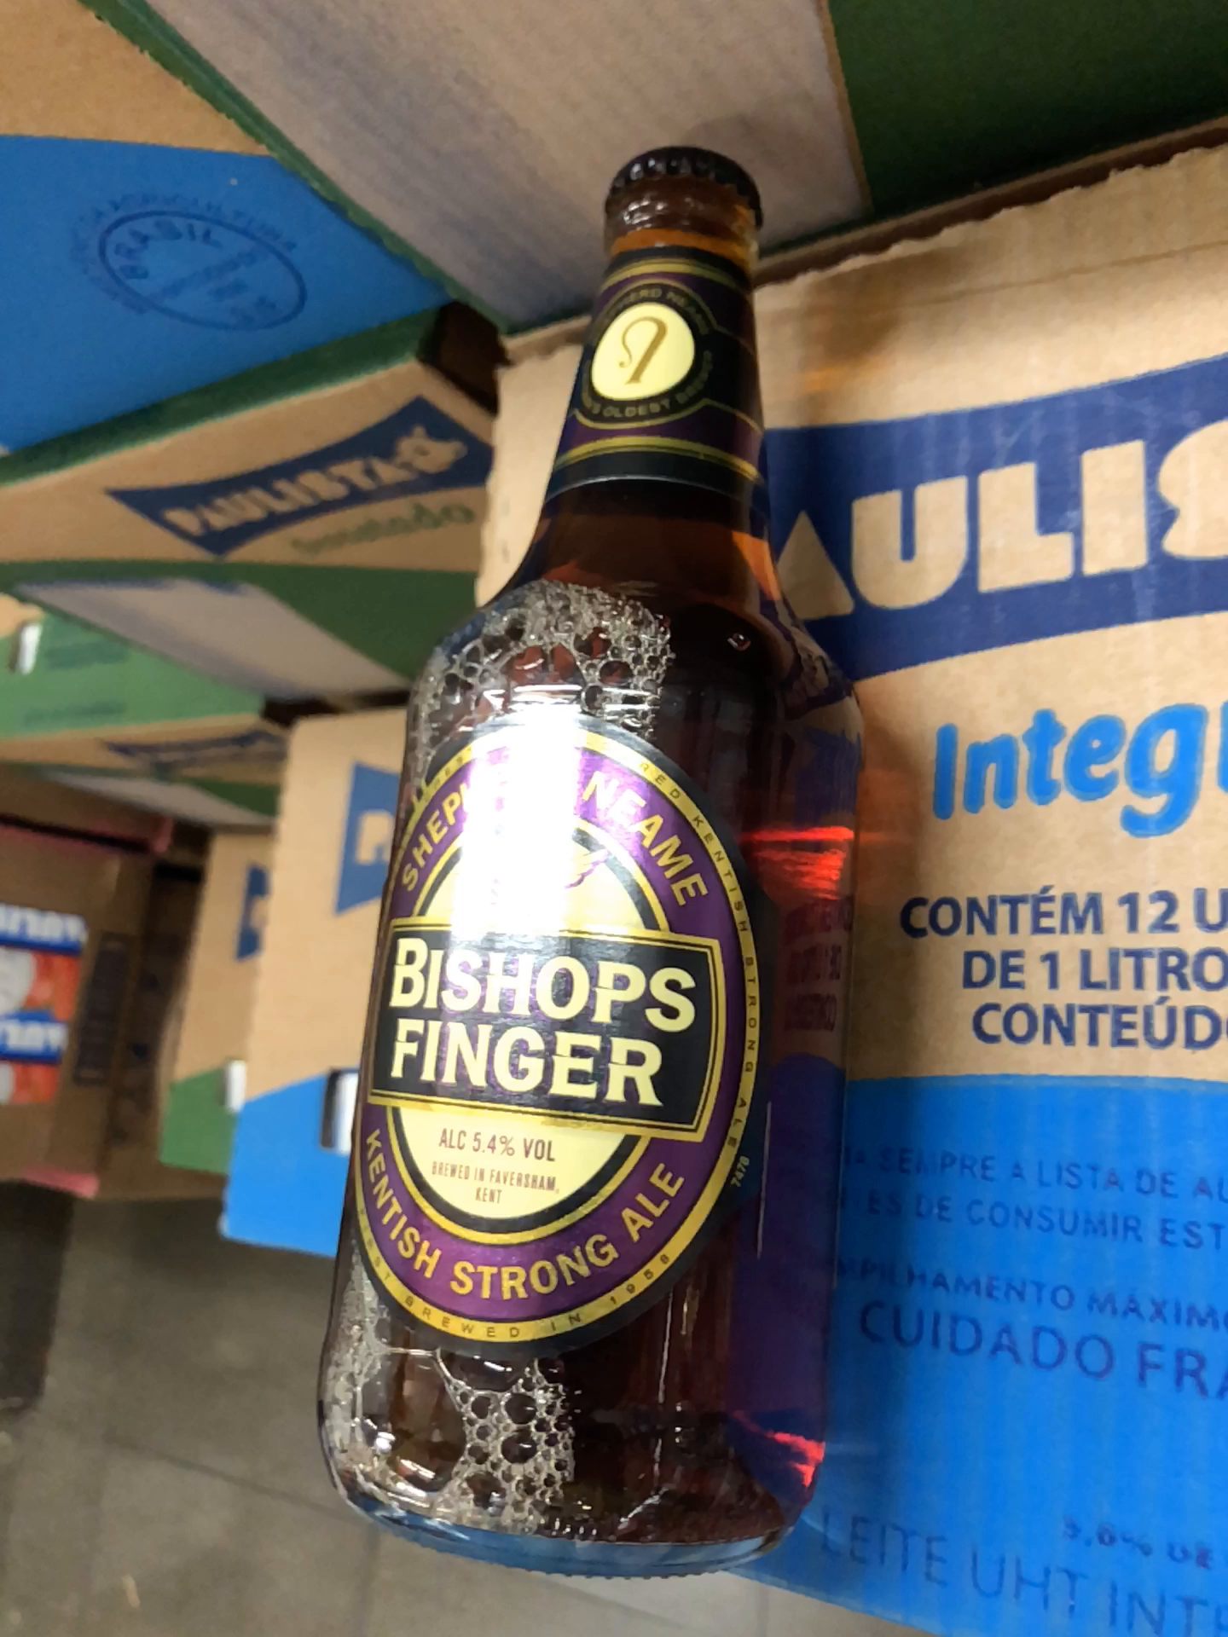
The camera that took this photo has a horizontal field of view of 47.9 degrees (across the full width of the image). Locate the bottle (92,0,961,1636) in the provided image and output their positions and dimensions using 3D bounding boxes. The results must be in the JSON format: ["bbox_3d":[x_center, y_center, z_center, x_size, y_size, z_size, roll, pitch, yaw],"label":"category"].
[{"bbox_3d":[-0.004,-0.018,0.216,0.080,0.070,0.250,-3,75,35],"label":"bottle"}]
